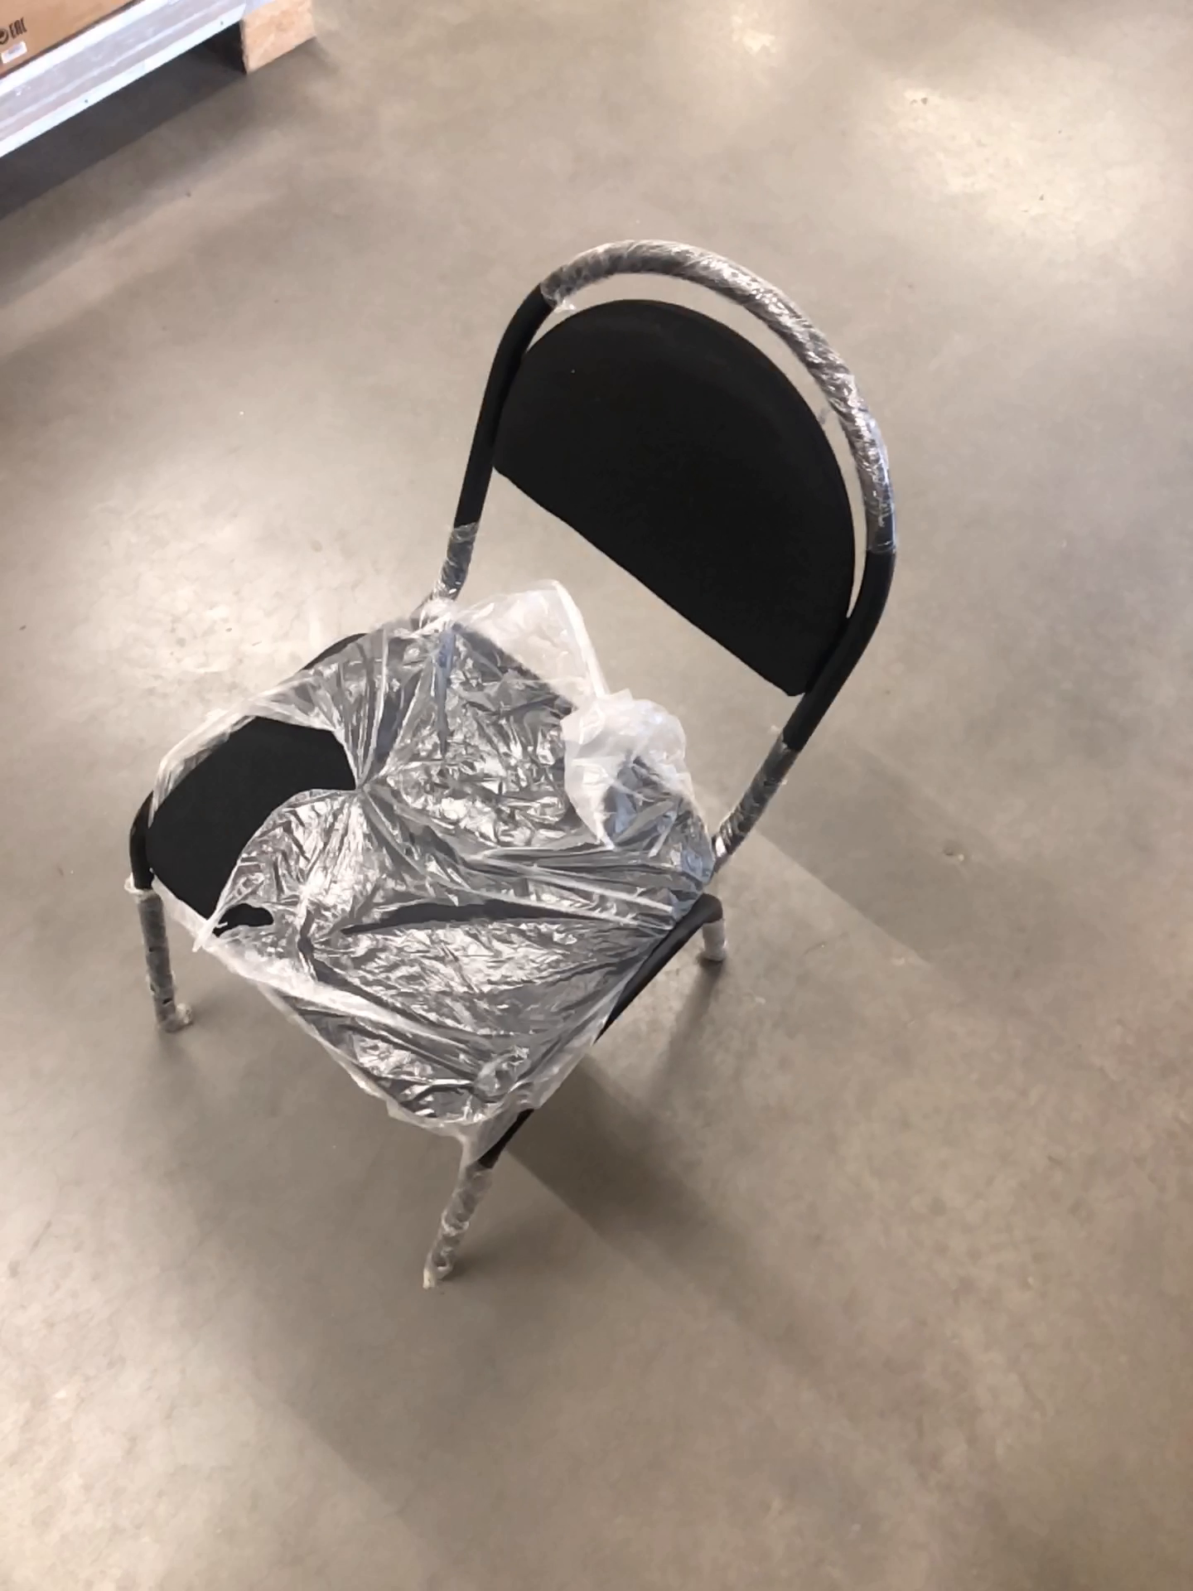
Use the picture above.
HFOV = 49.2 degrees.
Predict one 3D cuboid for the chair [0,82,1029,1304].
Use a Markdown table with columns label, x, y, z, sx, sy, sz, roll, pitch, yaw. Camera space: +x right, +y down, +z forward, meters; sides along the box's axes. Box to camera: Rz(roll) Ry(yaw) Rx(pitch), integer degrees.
| label | x | y | z | sx | sy | sz | roll | pitch | yaw |
| --- | --- | --- | --- | --- | --- | --- | --- | --- | --- |
| chair | -0.122 | 0.016 | 1.136 | 0.450 | 0.877 | 0.552 | 39 | 66 | 14 |
